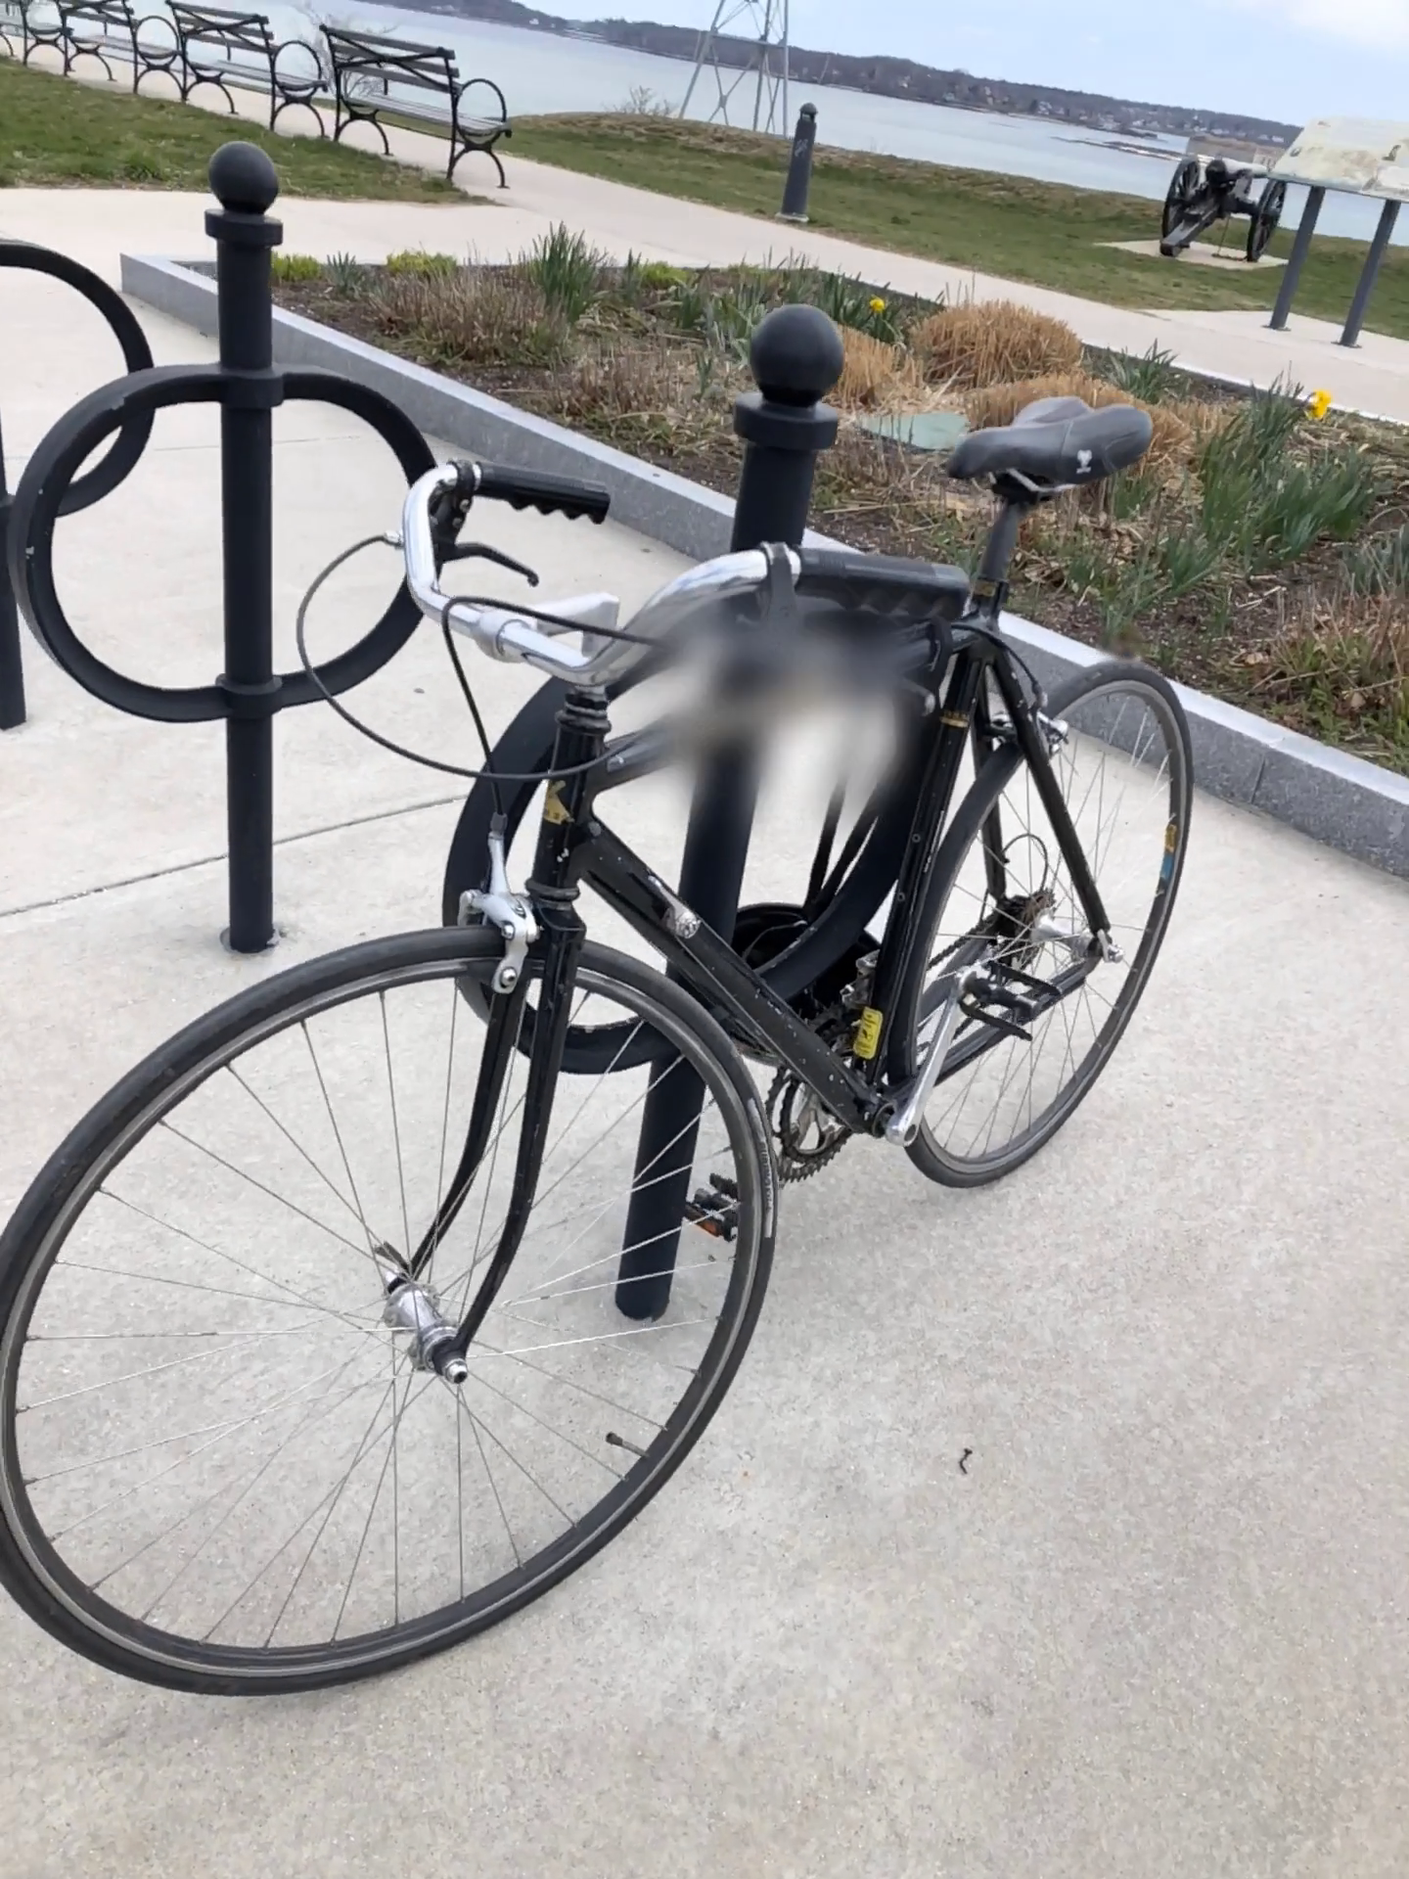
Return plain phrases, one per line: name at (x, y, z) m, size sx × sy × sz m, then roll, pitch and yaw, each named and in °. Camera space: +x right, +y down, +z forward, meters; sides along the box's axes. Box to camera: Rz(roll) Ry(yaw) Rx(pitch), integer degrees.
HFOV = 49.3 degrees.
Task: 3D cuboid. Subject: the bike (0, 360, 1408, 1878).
bike at (0.111, 0.053, 1.290) m, size 0.486 × 0.805 × 1.390 m, roll 31°, pitch 39°, yaw 34°
